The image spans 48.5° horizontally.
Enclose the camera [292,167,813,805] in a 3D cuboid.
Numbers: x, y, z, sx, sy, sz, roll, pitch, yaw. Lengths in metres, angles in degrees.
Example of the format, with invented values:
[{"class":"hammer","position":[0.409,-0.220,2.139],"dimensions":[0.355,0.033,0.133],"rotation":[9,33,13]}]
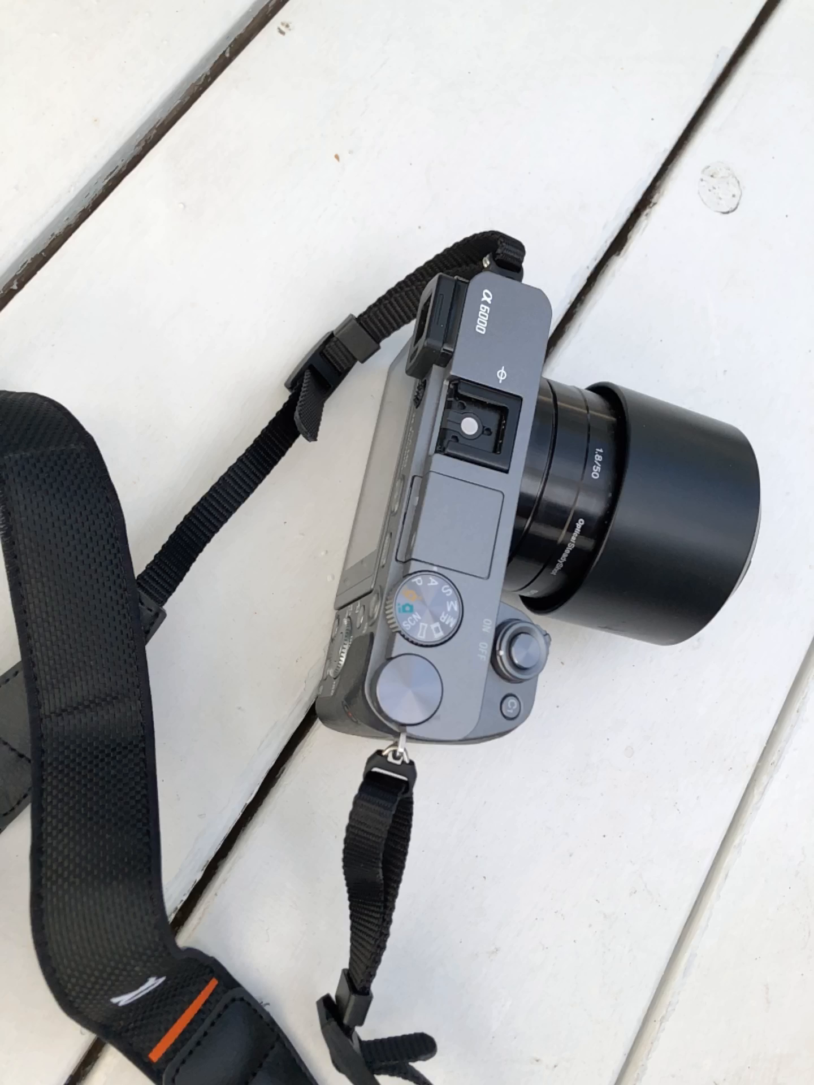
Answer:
[{"class":"camera","position":[0.042,-0.008,0.257],"dimensions":[0.110,0.070,0.140],"rotation":[15,73,-15]}]
